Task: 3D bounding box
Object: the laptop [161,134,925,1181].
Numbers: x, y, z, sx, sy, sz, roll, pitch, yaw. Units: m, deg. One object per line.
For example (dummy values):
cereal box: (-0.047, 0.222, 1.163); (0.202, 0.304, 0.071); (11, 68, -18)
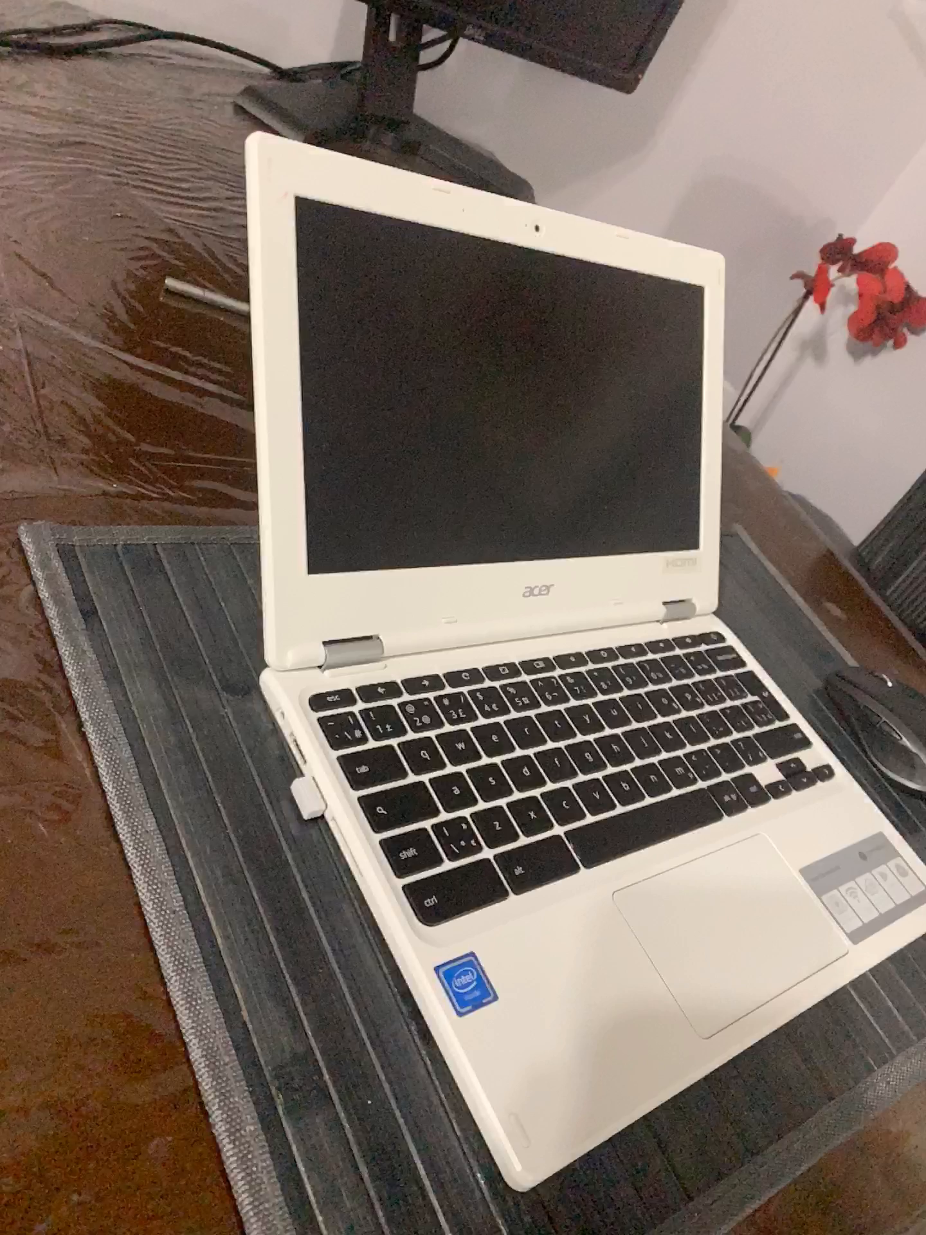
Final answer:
laptop: (0.081, -0.018, 0.402); (0.285, 0.142, 0.328); (-6, 52, -40)
